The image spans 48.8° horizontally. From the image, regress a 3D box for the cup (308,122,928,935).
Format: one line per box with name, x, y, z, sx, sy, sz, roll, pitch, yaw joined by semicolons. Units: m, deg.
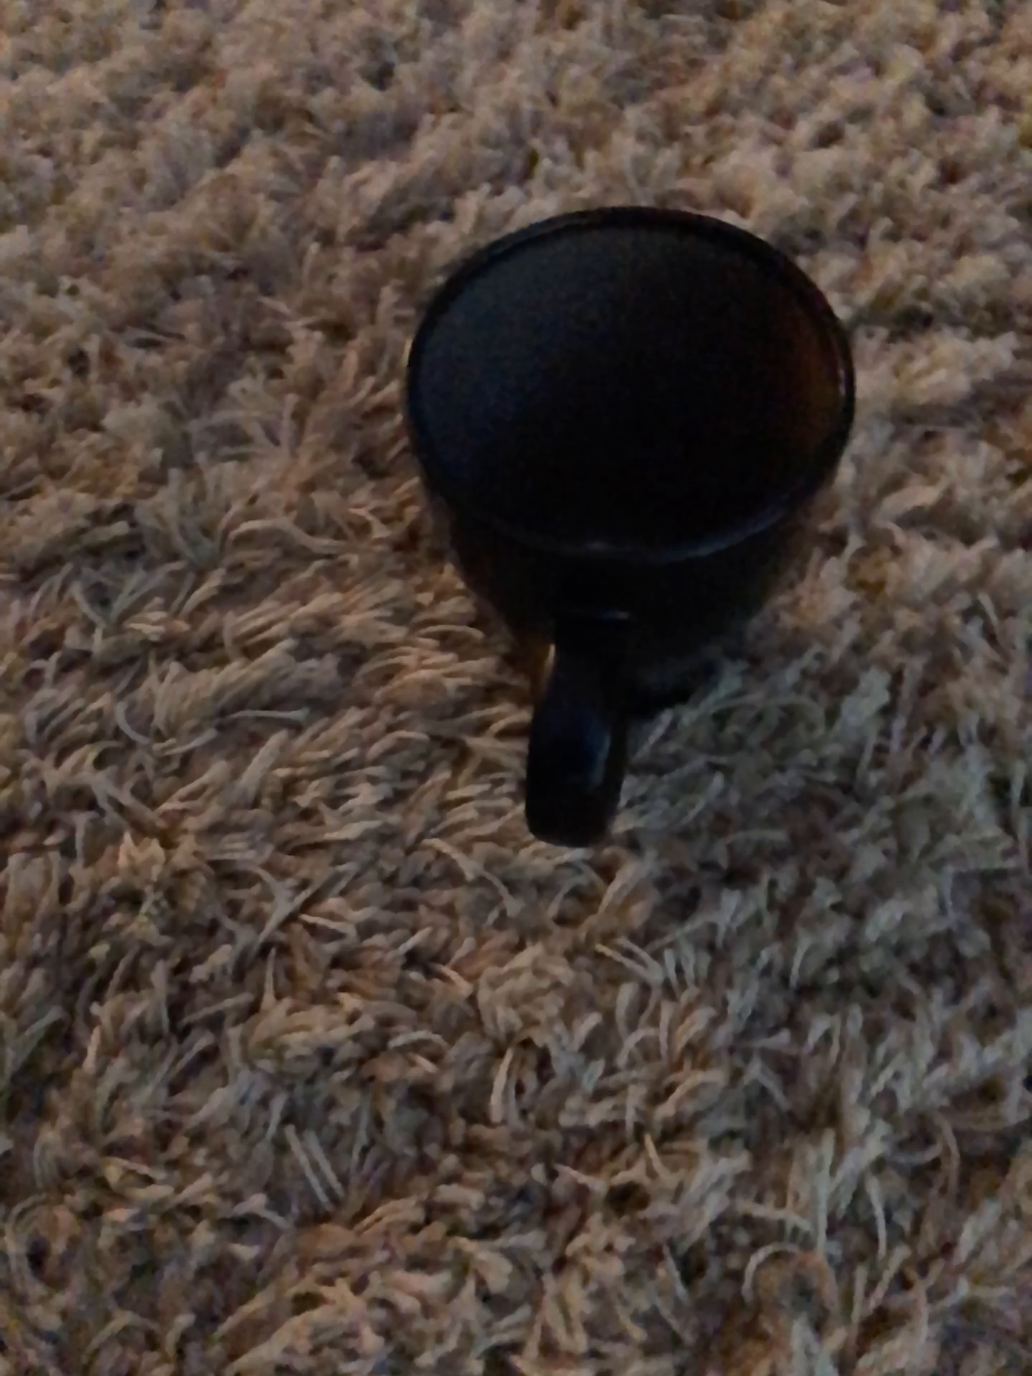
cup;0.029;-0.035;0.251;0.090;0.090;0.140;10;62;10
